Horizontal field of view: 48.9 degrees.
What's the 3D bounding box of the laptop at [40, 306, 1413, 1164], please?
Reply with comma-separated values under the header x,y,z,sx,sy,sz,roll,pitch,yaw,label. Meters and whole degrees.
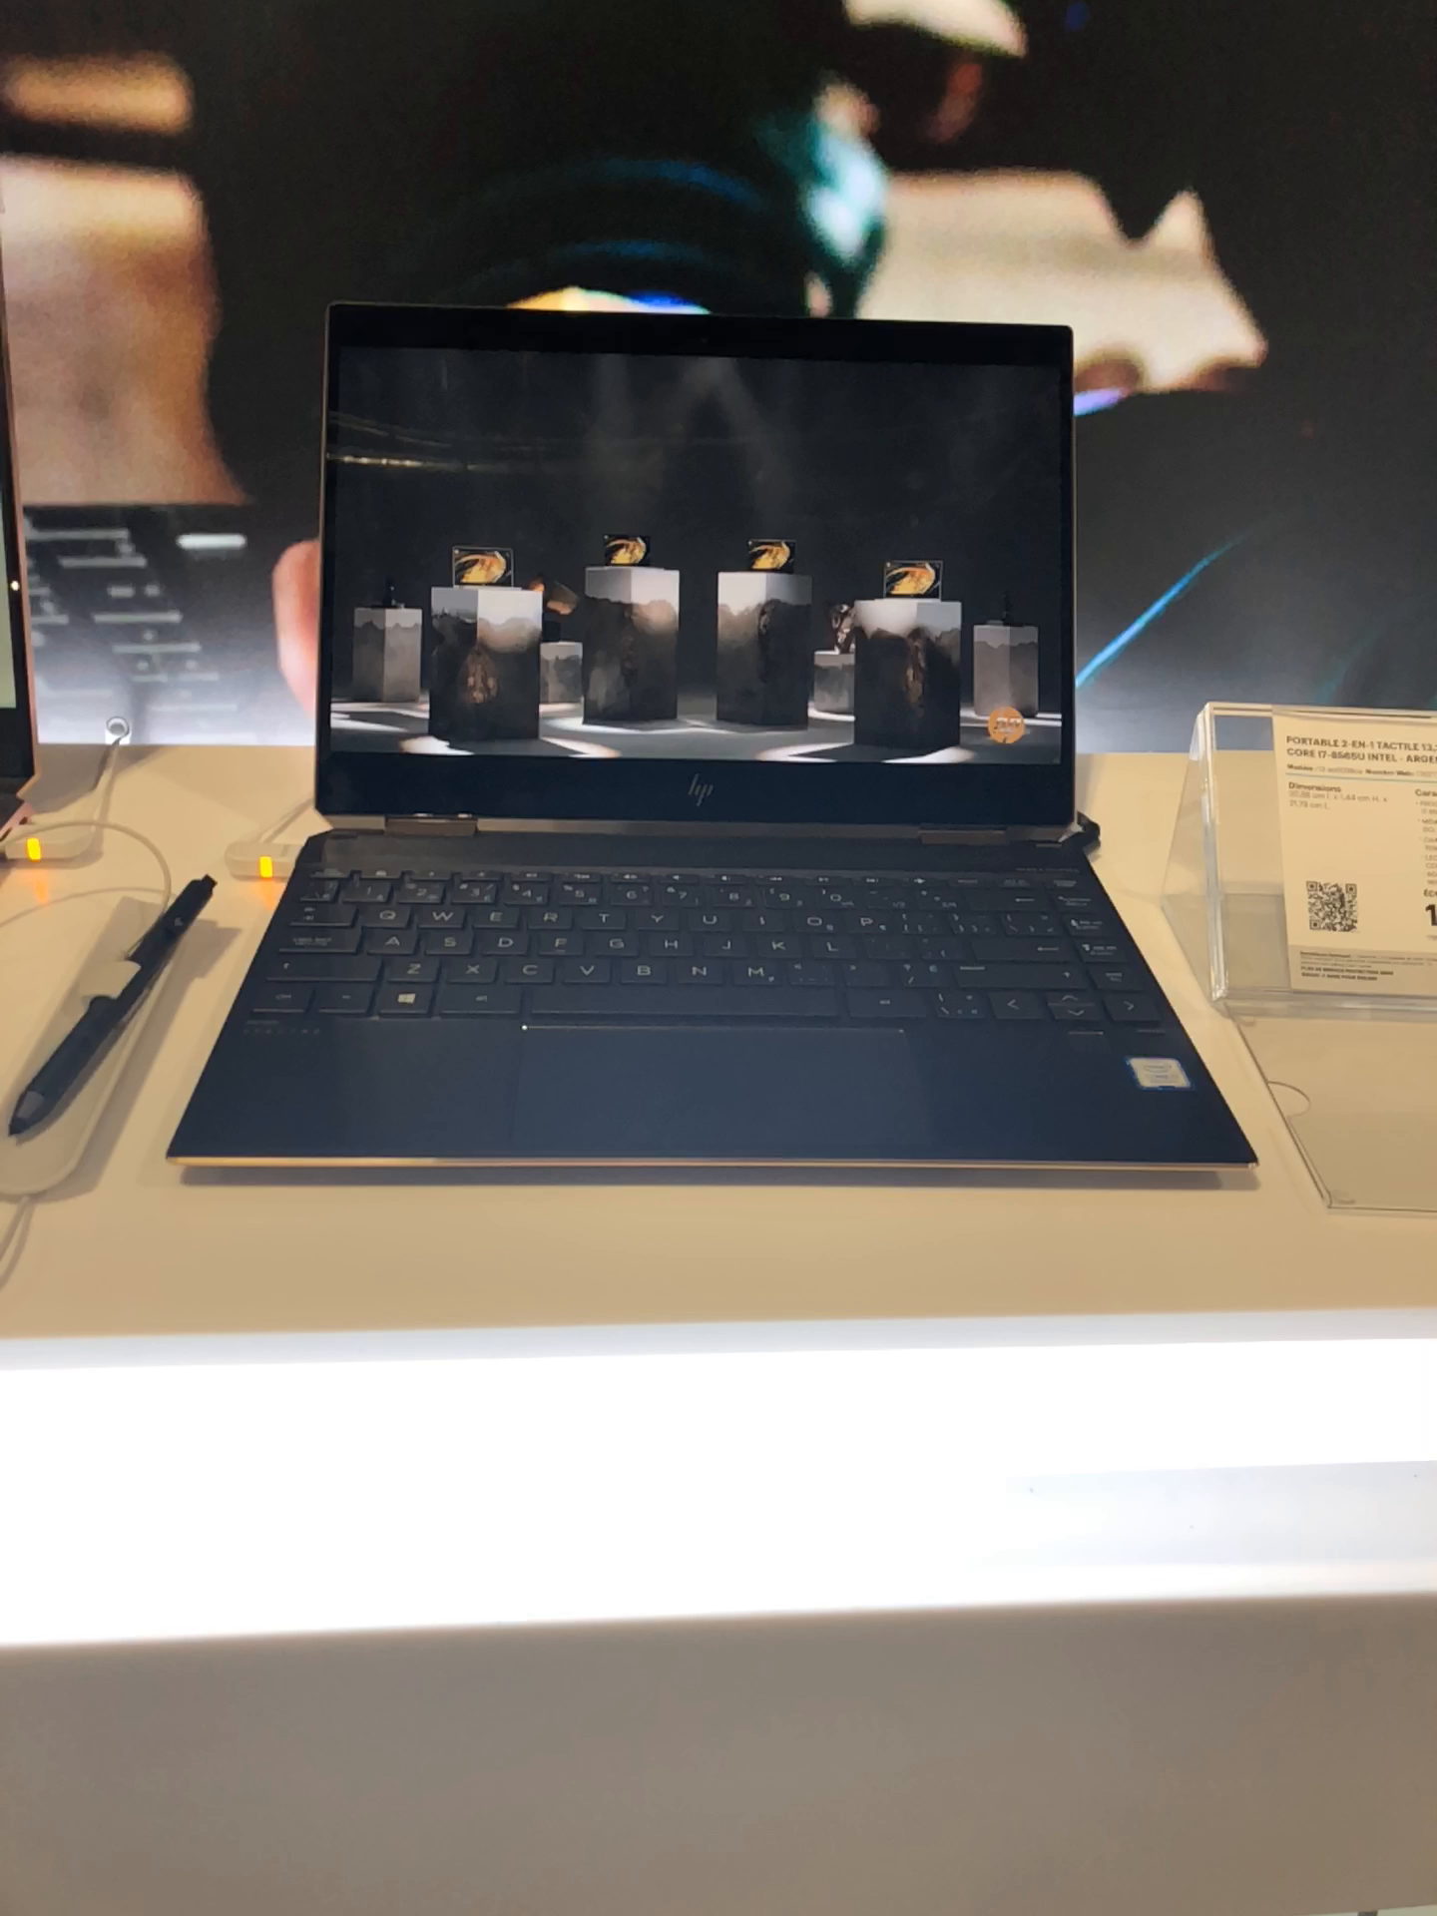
x,y,z,sx,sy,sz,roll,pitch,yaw,label
-0.002,-0.105,0.542,0.305,0.172,0.347,0,29,-3,laptop
